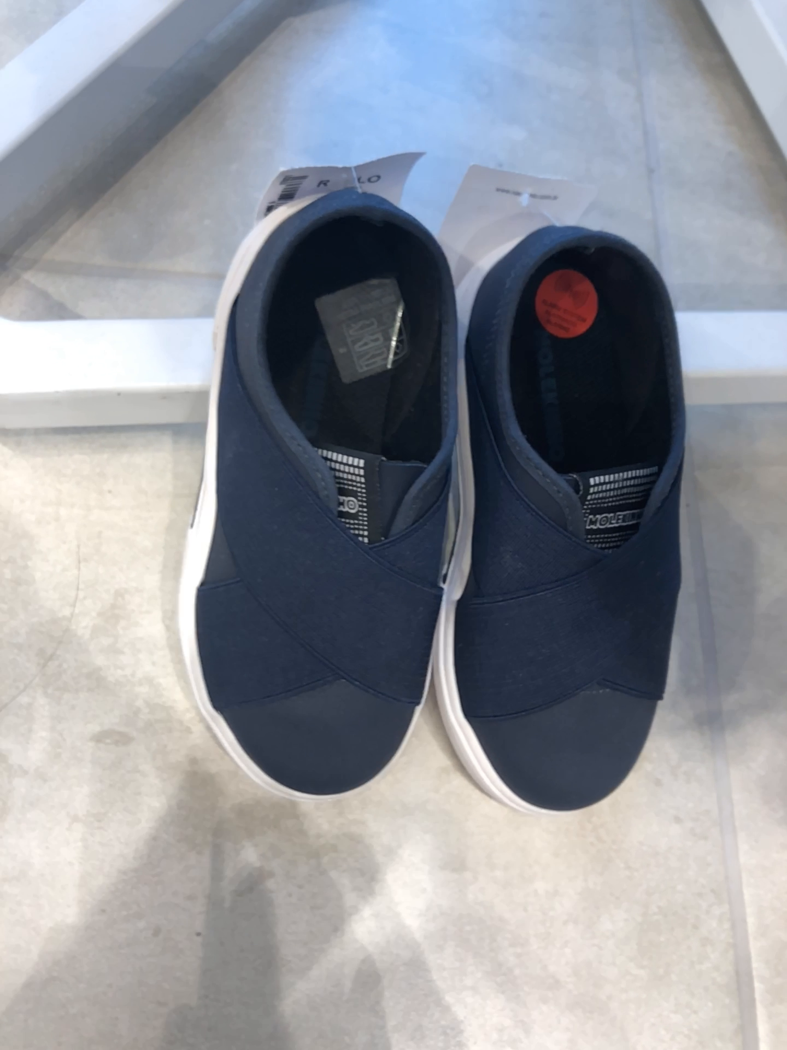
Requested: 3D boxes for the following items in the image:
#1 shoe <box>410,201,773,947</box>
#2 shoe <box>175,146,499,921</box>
[{"bbox_3d":[0.047,0.010,0.246,0.070,0.070,0.180,-3,102,-10],"label":"shoe"},{"bbox_3d":[-0.022,0.002,0.243,0.070,0.070,0.180,-1,102,-15],"label":"shoe"}]
